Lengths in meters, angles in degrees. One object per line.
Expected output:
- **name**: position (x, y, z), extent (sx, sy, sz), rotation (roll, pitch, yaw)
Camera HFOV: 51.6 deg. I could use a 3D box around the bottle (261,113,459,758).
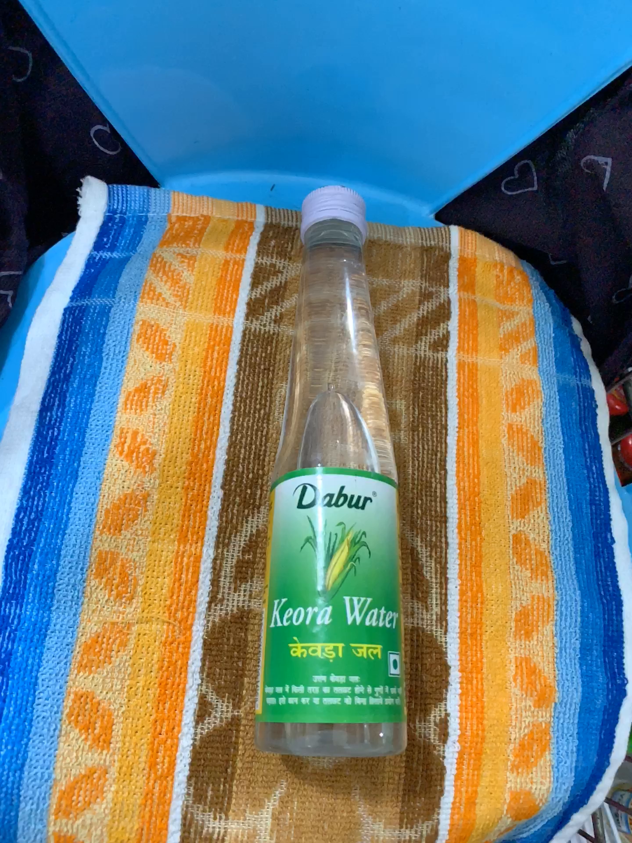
- **bottle**: position (0.011, -0.003, 0.220), extent (0.050, 0.050, 0.200), rotation (2, 72, -5)
